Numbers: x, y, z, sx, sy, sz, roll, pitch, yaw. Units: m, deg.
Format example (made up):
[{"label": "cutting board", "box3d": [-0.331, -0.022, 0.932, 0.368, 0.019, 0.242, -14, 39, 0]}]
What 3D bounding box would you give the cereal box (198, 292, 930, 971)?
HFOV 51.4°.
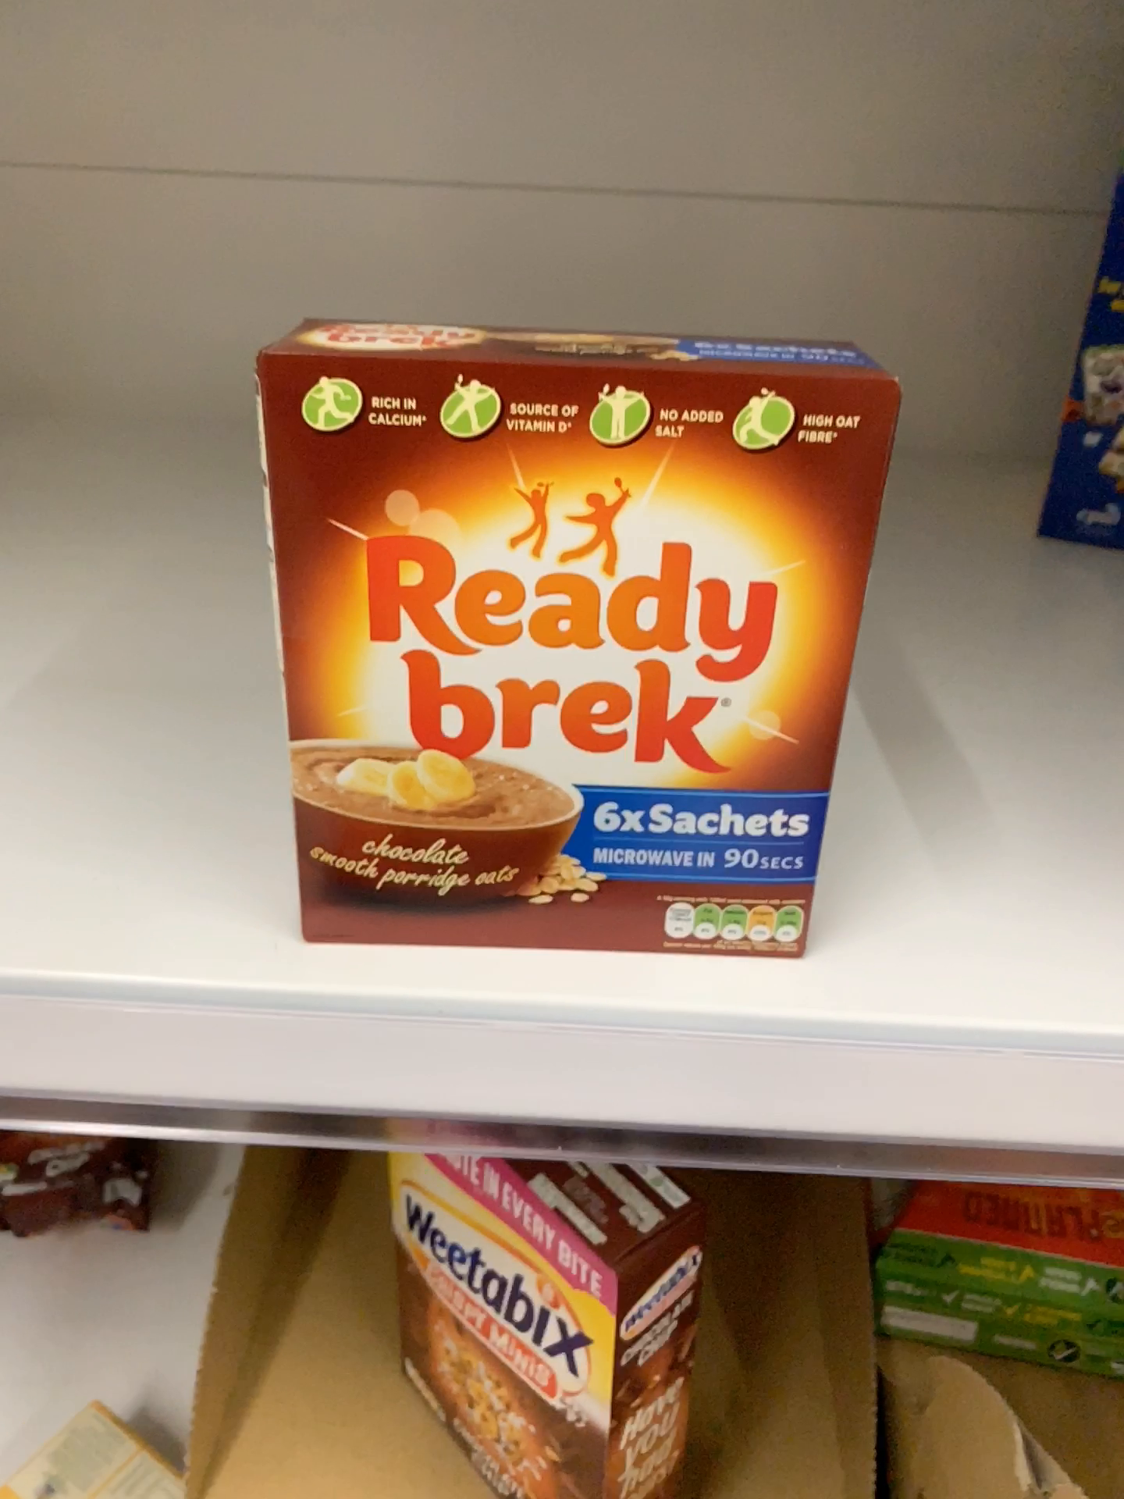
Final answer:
[{"label": "cereal box", "box3d": [-0.003, -0.031, 0.357, 0.180, 0.188, 0.061, 3, 27, 0]}]
